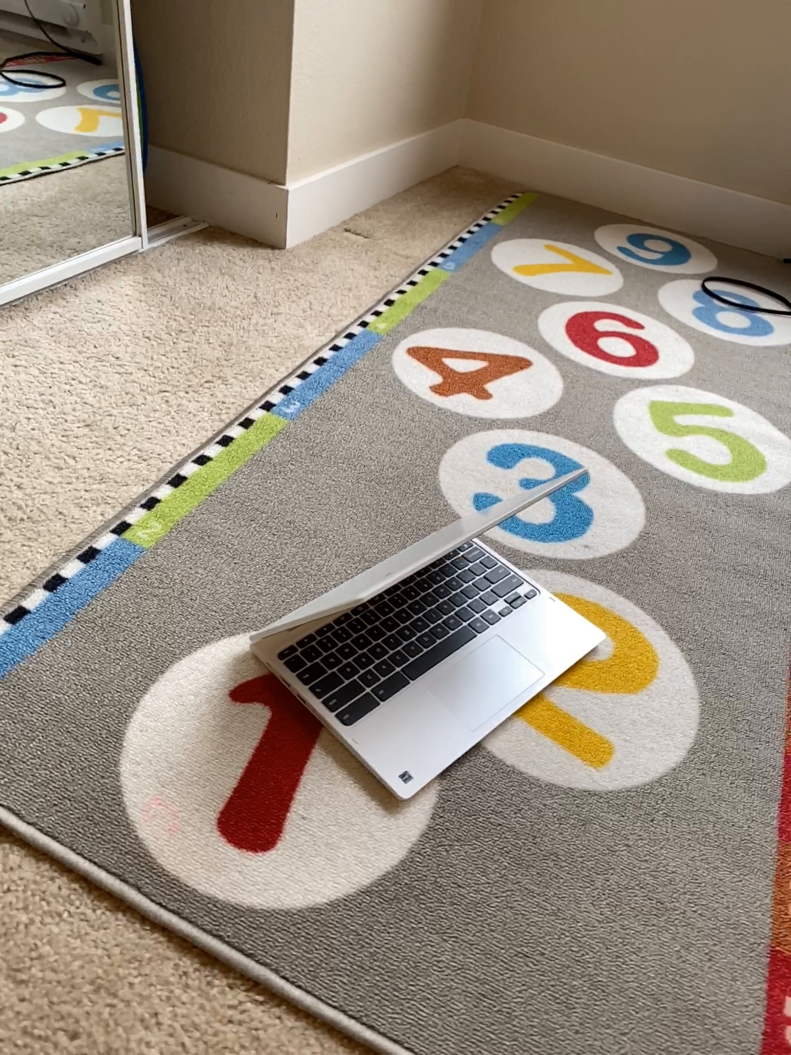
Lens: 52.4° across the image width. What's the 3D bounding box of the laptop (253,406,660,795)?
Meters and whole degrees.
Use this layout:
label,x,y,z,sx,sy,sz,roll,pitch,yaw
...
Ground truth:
label,x,y,z,sx,sy,sz,roll,pitch,yaw
laptop,0.052,0.045,0.750,0.294,0.164,0.217,-27,51,-37
